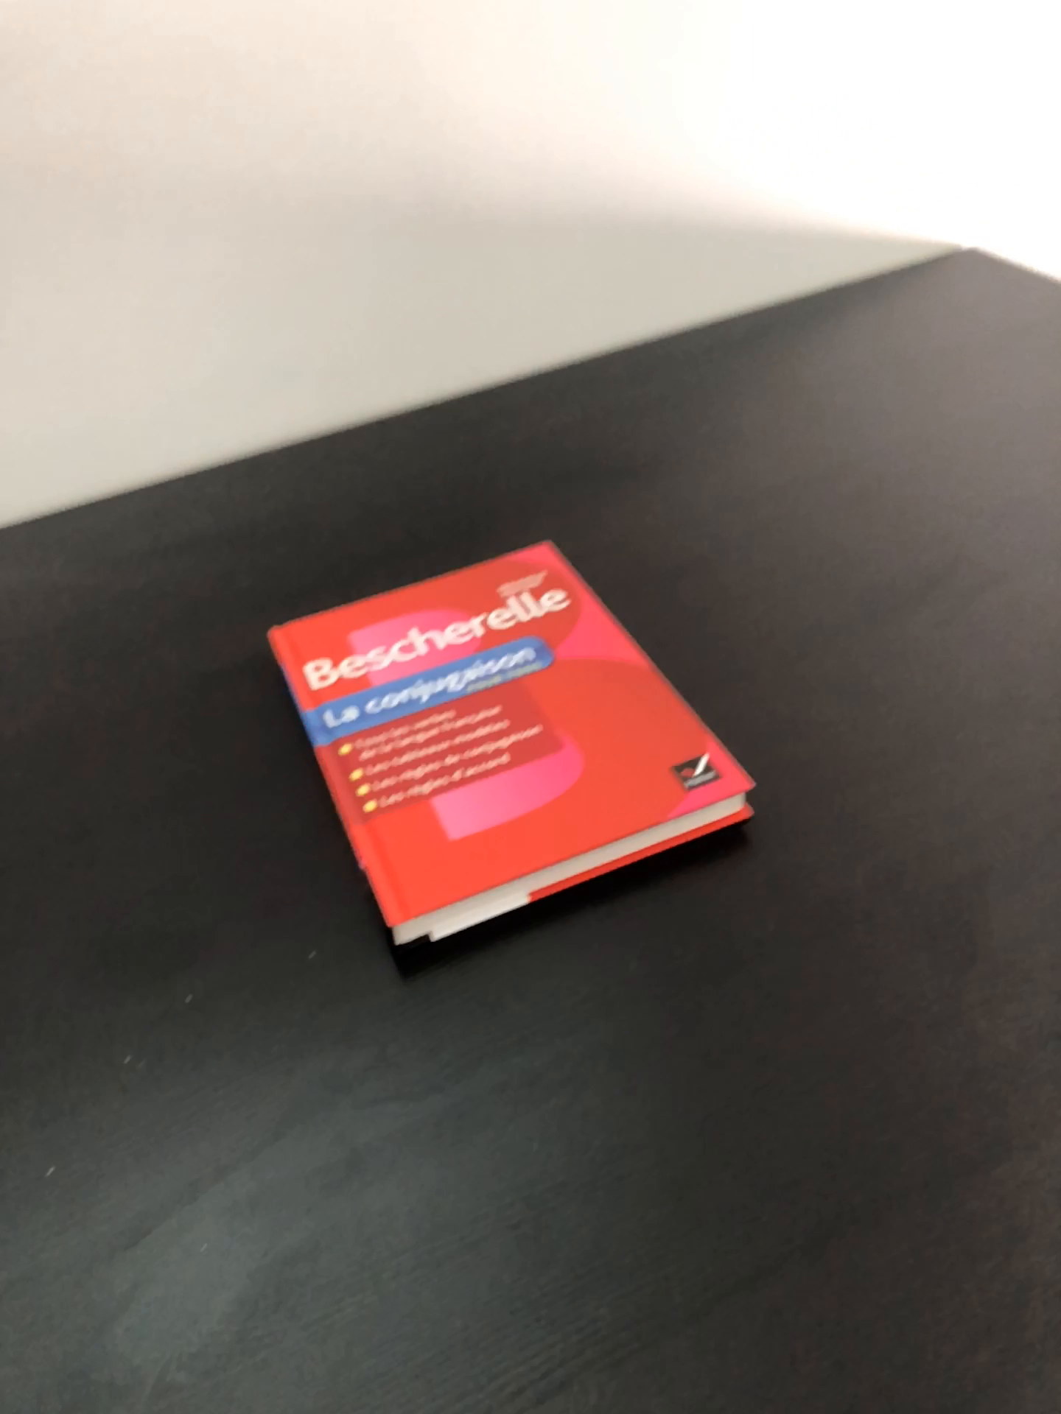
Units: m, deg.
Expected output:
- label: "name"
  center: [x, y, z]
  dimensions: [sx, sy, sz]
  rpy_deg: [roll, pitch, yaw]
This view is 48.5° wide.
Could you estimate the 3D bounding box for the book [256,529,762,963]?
- label: "book"
  center: [-0.021, 0.000, 0.494]
  dimensions: [0.150, 0.020, 0.204]
  rpy_deg: [-19, 40, -12]
